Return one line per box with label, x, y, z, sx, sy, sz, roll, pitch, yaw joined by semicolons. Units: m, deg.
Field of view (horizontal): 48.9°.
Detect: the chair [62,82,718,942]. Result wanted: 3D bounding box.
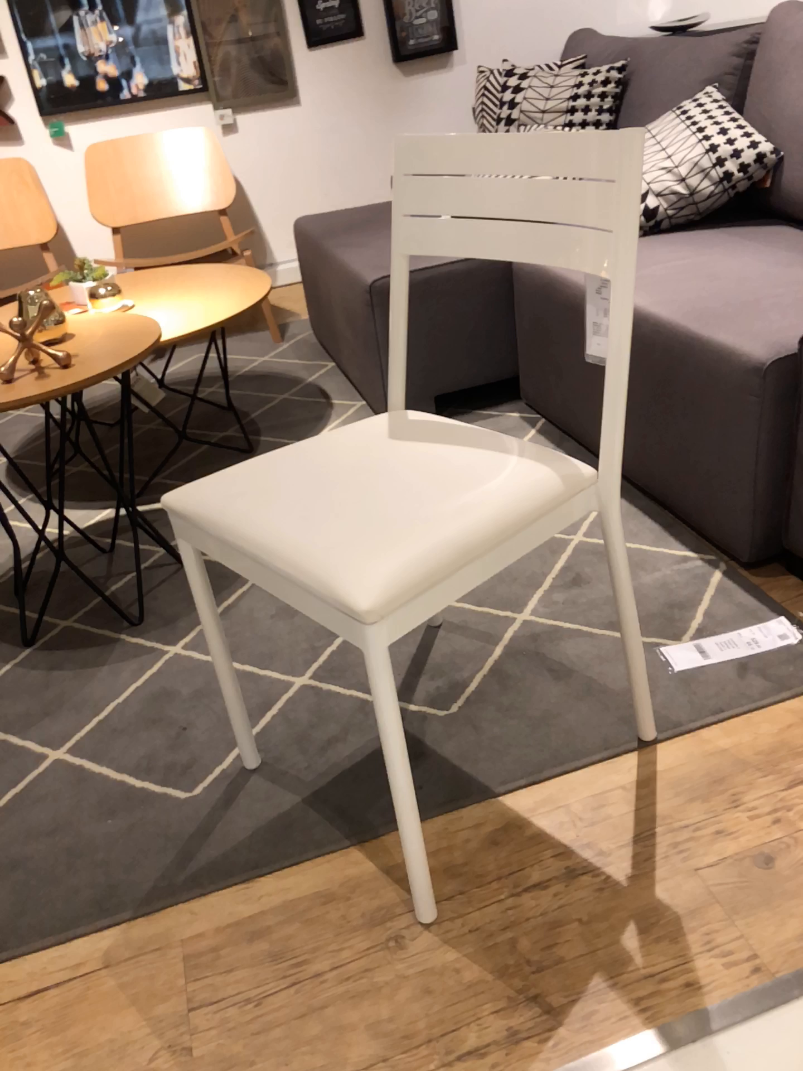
chair;0.030;-0.061;1.053;0.472;0.774;0.452;-29;35;-32
